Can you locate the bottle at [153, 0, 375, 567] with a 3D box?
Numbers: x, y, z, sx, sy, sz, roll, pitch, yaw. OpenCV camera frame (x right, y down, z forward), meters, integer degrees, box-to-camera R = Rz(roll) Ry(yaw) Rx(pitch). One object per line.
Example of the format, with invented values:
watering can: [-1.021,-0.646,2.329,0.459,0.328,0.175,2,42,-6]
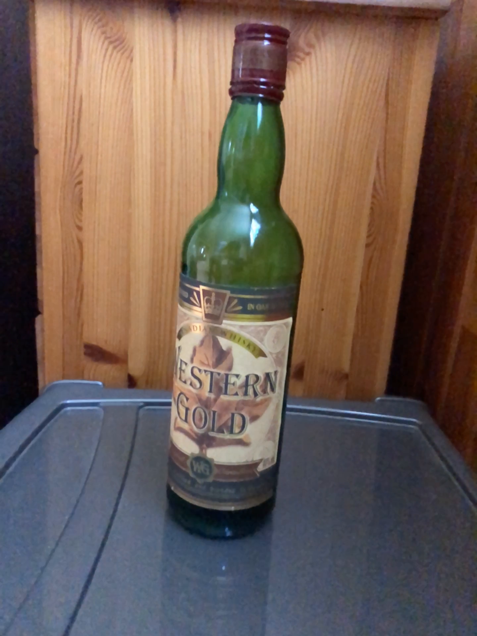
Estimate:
bottle: [0.010,-0.015,0.321,0.080,0.299,0.080,4,15,-1]
